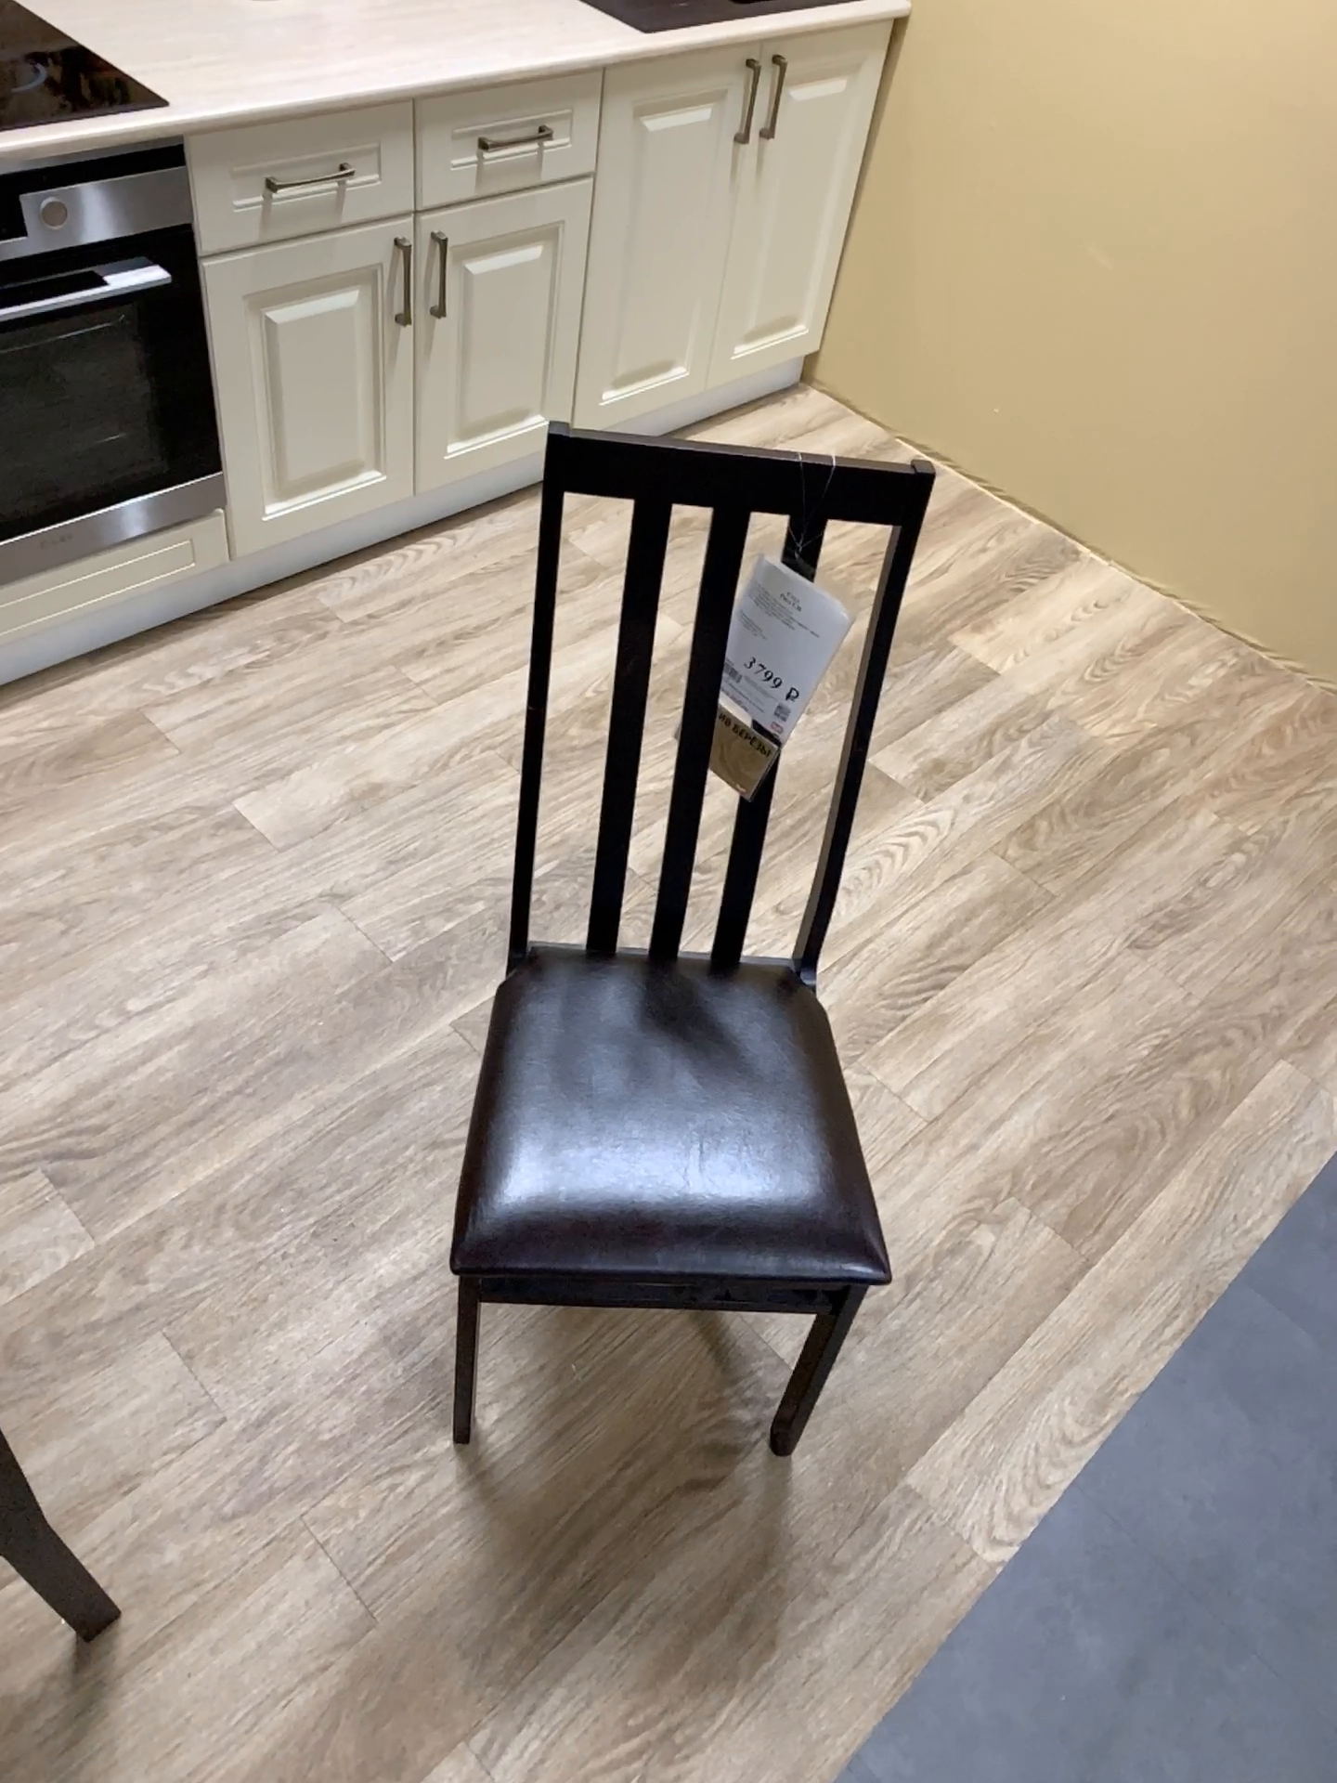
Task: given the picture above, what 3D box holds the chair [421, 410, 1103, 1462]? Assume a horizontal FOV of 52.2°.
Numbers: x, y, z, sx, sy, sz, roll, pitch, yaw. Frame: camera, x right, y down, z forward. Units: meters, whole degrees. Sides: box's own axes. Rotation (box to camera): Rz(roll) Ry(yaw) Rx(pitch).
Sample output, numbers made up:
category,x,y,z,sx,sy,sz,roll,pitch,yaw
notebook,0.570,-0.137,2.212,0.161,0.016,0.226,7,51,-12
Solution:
category,x,y,z,sx,sy,sz,roll,pitch,yaw
chair,-0.006,0.126,1.351,0.420,0.986,0.492,4,47,-6
